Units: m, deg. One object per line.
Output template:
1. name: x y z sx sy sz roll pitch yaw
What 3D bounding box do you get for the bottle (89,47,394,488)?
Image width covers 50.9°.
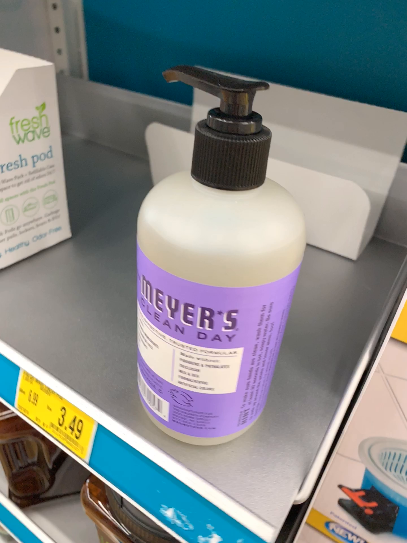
1. bottle: 0.010 0.001 0.184 0.080 0.159 0.070 19 36 18
